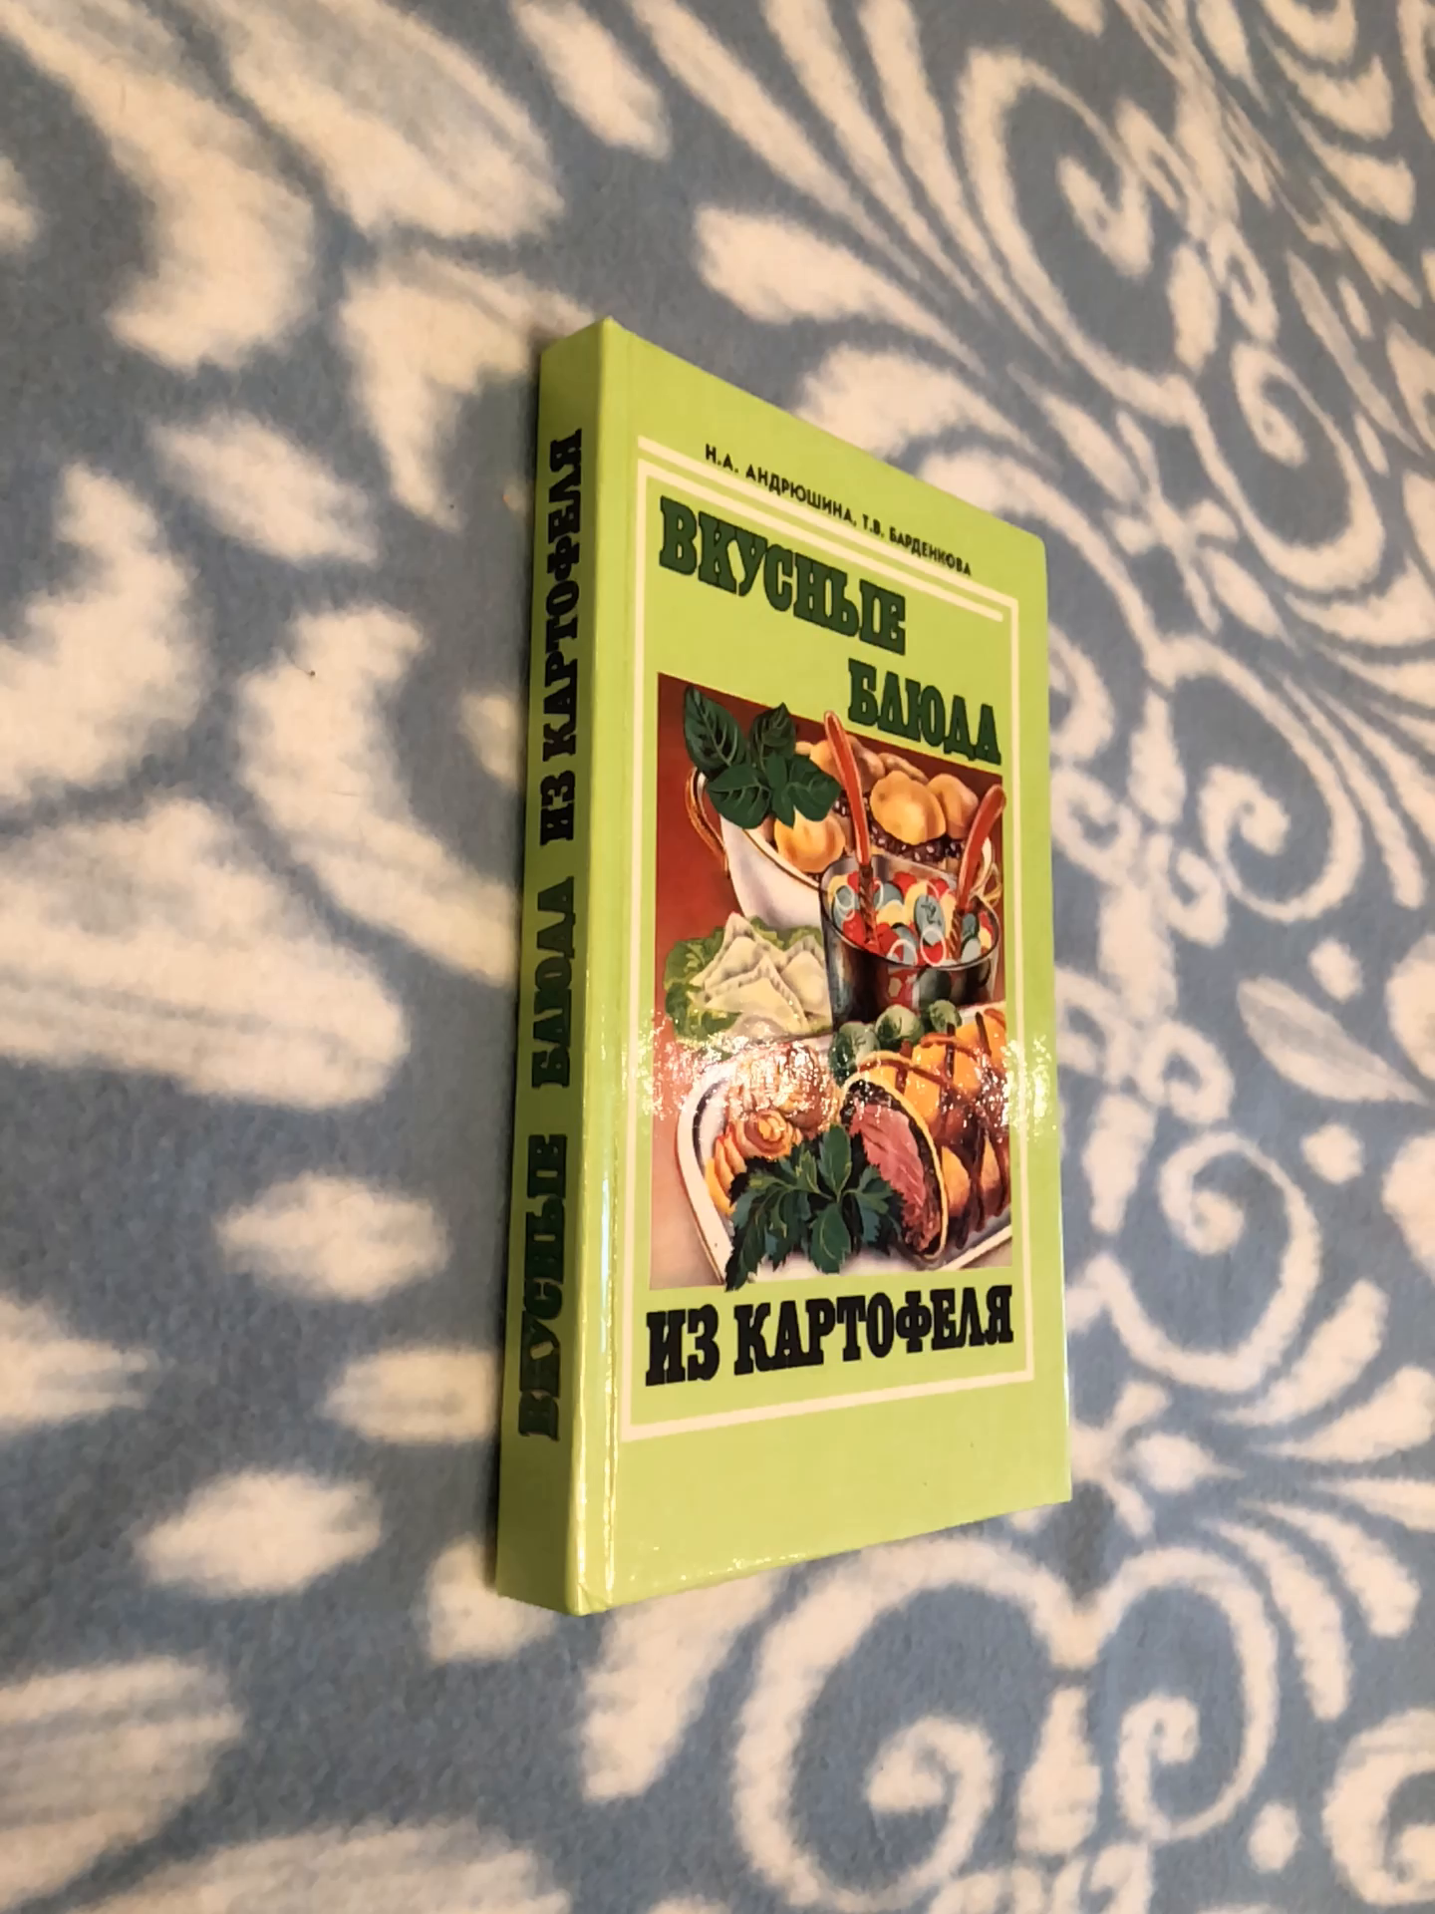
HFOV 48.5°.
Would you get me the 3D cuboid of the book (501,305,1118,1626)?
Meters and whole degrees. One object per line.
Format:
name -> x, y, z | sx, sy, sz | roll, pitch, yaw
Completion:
book -> 0.025, 0.004, 0.297 | 0.136, 0.025, 0.201 | 8, 79, -44
